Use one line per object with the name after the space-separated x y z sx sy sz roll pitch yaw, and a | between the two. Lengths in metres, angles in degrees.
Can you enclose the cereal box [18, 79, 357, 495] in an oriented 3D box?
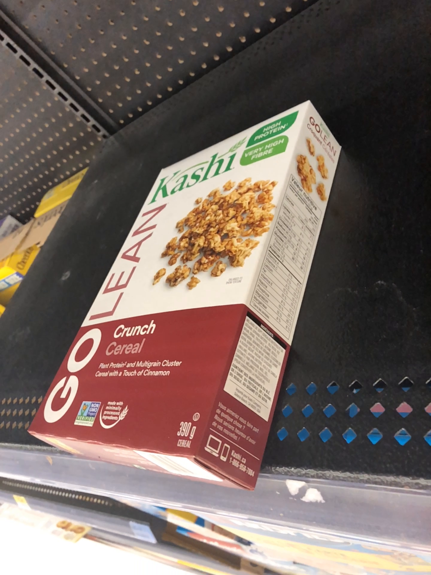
-0.009 -0.014 0.358 0.181 0.050 0.290 -12 45 40 | cereal box
